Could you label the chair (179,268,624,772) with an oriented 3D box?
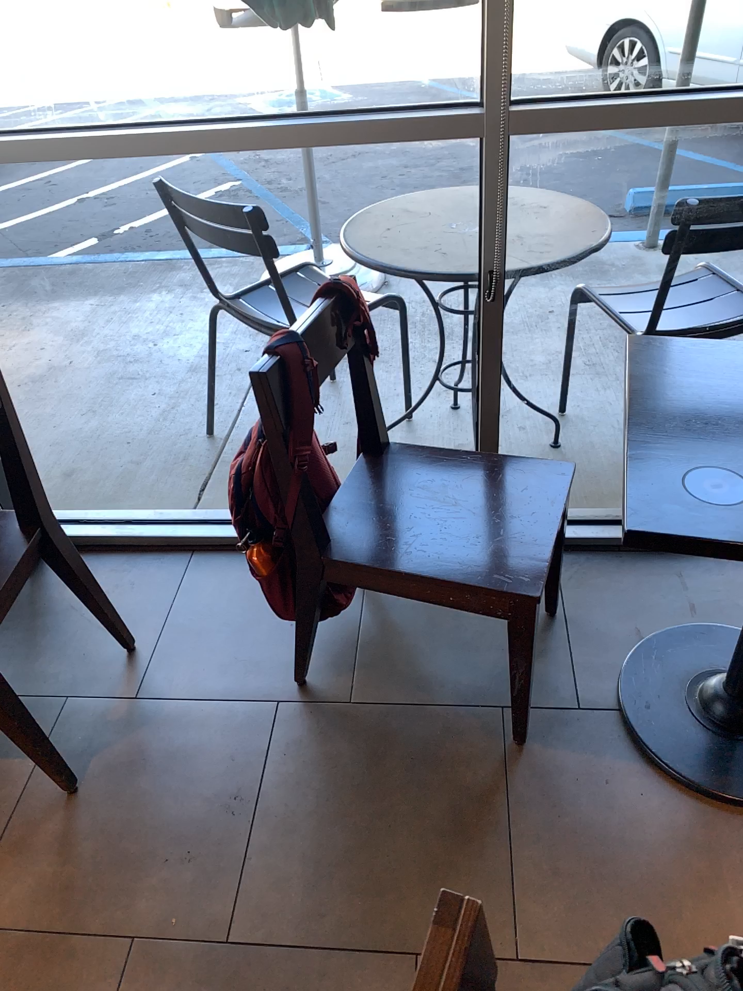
[{"bbox_3d":[0.135,0.025,1.805,0.741,0.855,0.693,9,40,17],"label":"chair"}]
